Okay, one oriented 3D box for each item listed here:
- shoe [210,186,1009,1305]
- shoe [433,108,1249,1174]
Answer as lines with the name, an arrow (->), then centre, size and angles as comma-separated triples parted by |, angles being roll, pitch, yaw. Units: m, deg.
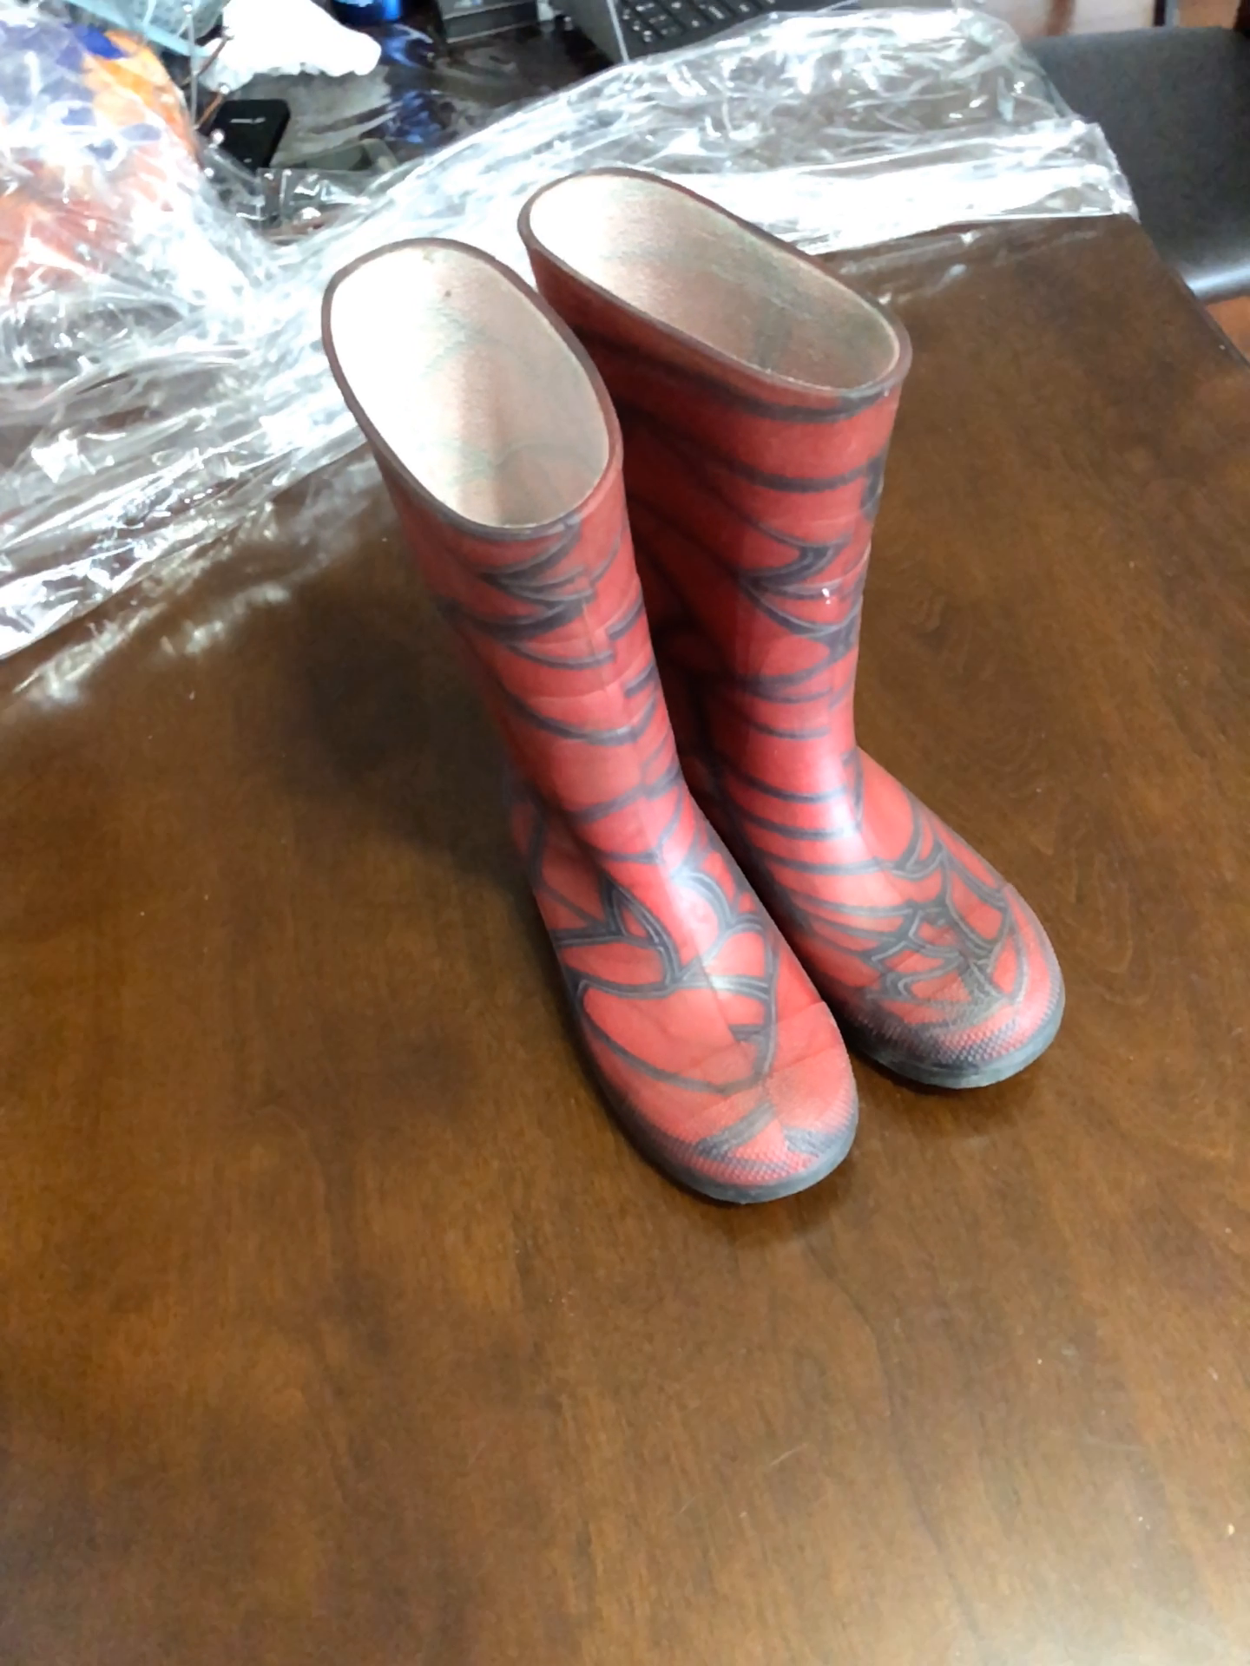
shoe -> -0.006, -0.014, 0.405 | 0.080, 0.239, 0.220 | -28, 57, -13
shoe -> 0.056, -0.047, 0.423 | 0.080, 0.239, 0.220 | -33, 58, -16
